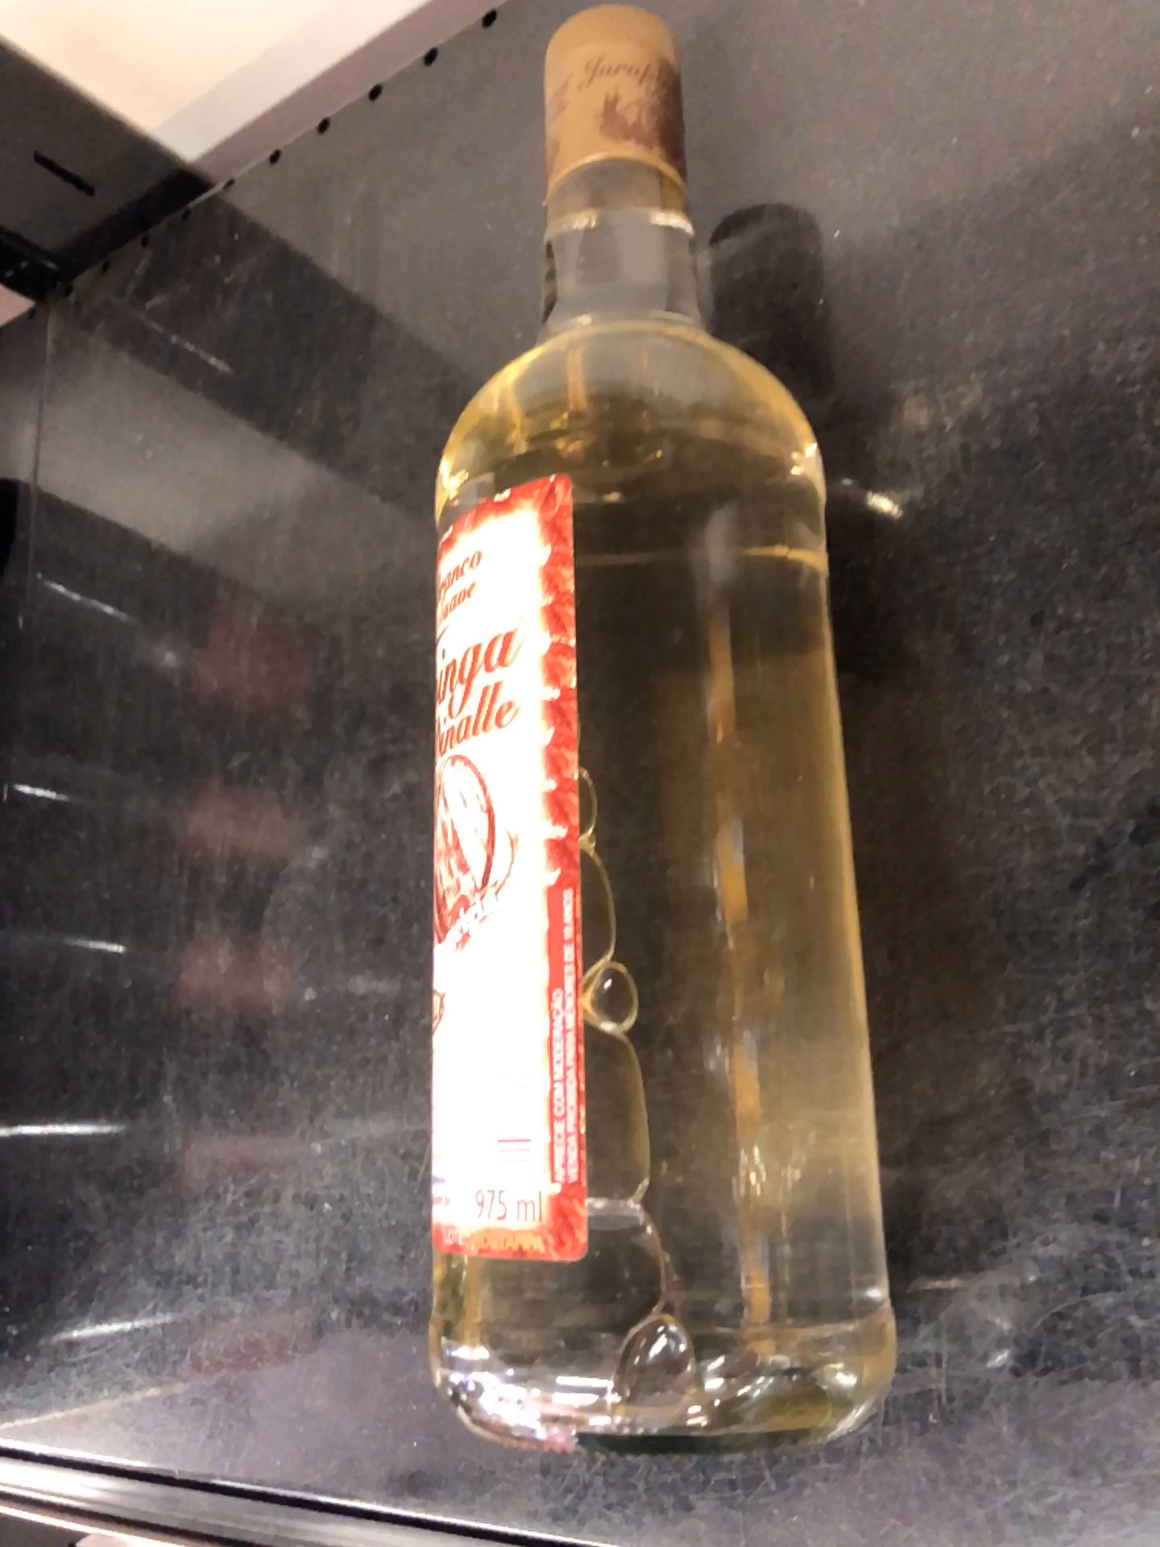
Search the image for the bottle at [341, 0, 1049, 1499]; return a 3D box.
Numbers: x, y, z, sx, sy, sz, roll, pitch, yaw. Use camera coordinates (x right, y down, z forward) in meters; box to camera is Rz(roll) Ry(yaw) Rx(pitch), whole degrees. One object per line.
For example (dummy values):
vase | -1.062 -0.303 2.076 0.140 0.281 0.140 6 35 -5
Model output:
bottle | 0.011 -0.035 0.258 0.100 0.080 0.300 -2 76 1
